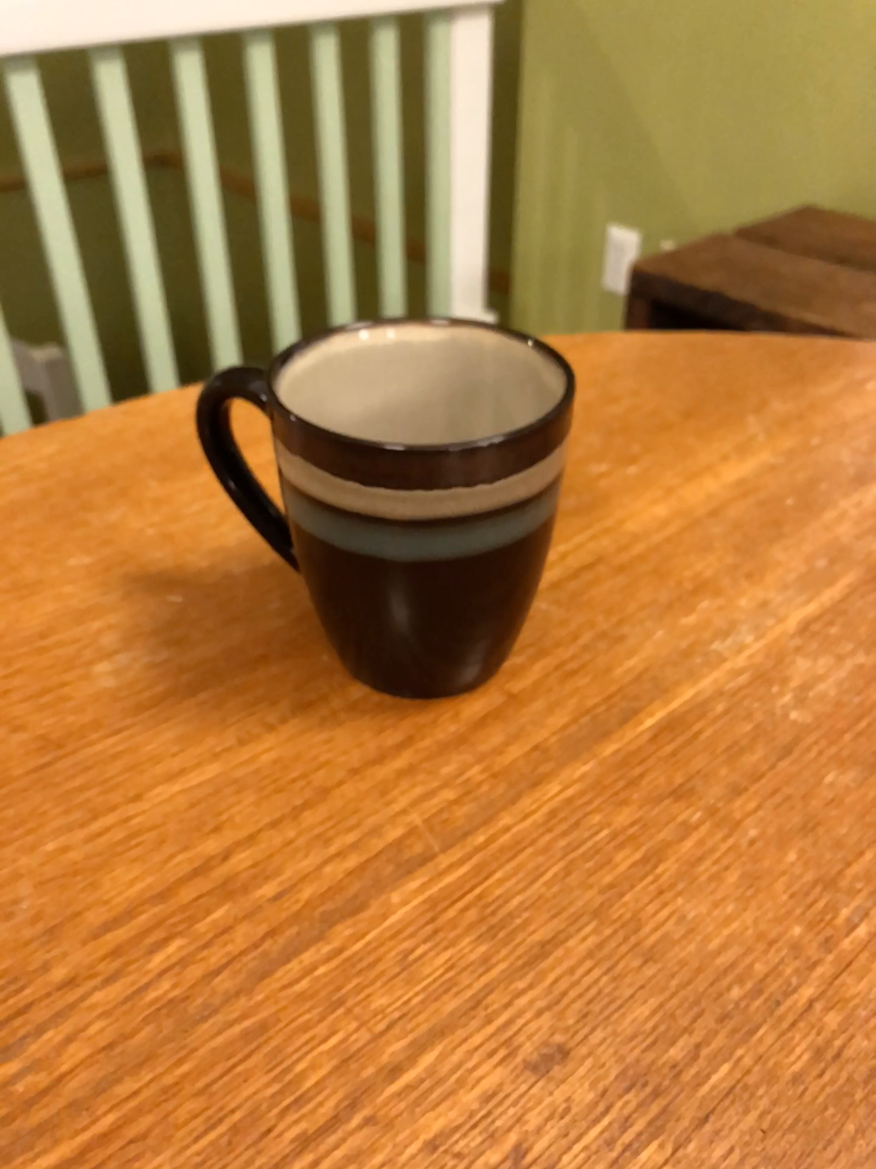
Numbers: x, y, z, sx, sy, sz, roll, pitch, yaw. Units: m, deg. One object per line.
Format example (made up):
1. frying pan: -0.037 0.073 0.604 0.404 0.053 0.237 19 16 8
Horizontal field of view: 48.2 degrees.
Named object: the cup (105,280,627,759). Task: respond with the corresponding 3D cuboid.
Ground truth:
1. cup: -0.020 -0.030 0.325 0.125 0.093 0.099 19 40 24
